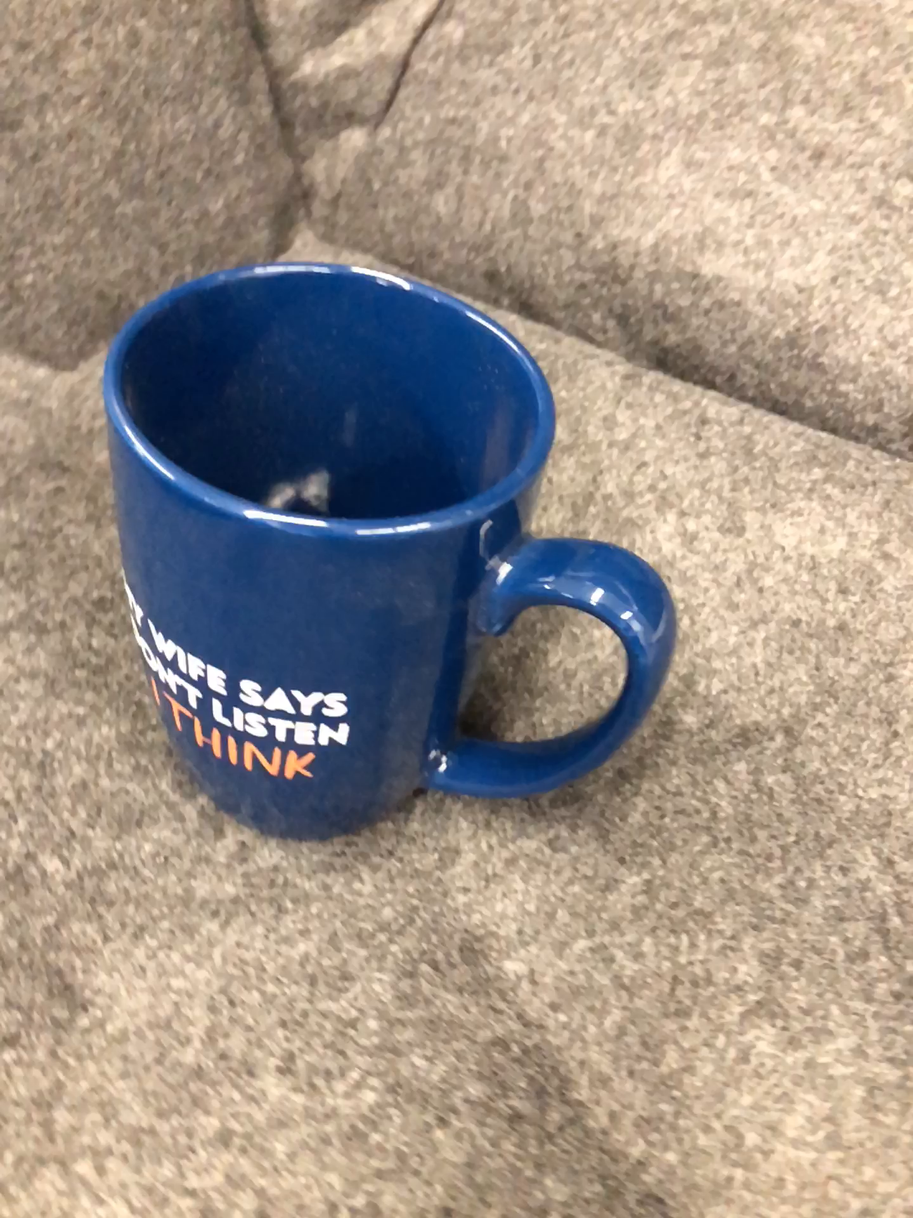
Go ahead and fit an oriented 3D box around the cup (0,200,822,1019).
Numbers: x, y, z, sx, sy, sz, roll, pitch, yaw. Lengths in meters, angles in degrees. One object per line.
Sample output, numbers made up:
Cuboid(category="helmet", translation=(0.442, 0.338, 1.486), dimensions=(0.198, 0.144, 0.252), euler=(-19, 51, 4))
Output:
Cuboid(category="cup", translation=(-0.013, -0.004, 0.231), dimensions=(0.130, 0.109, 0.090), euler=(29, 51, 20))
